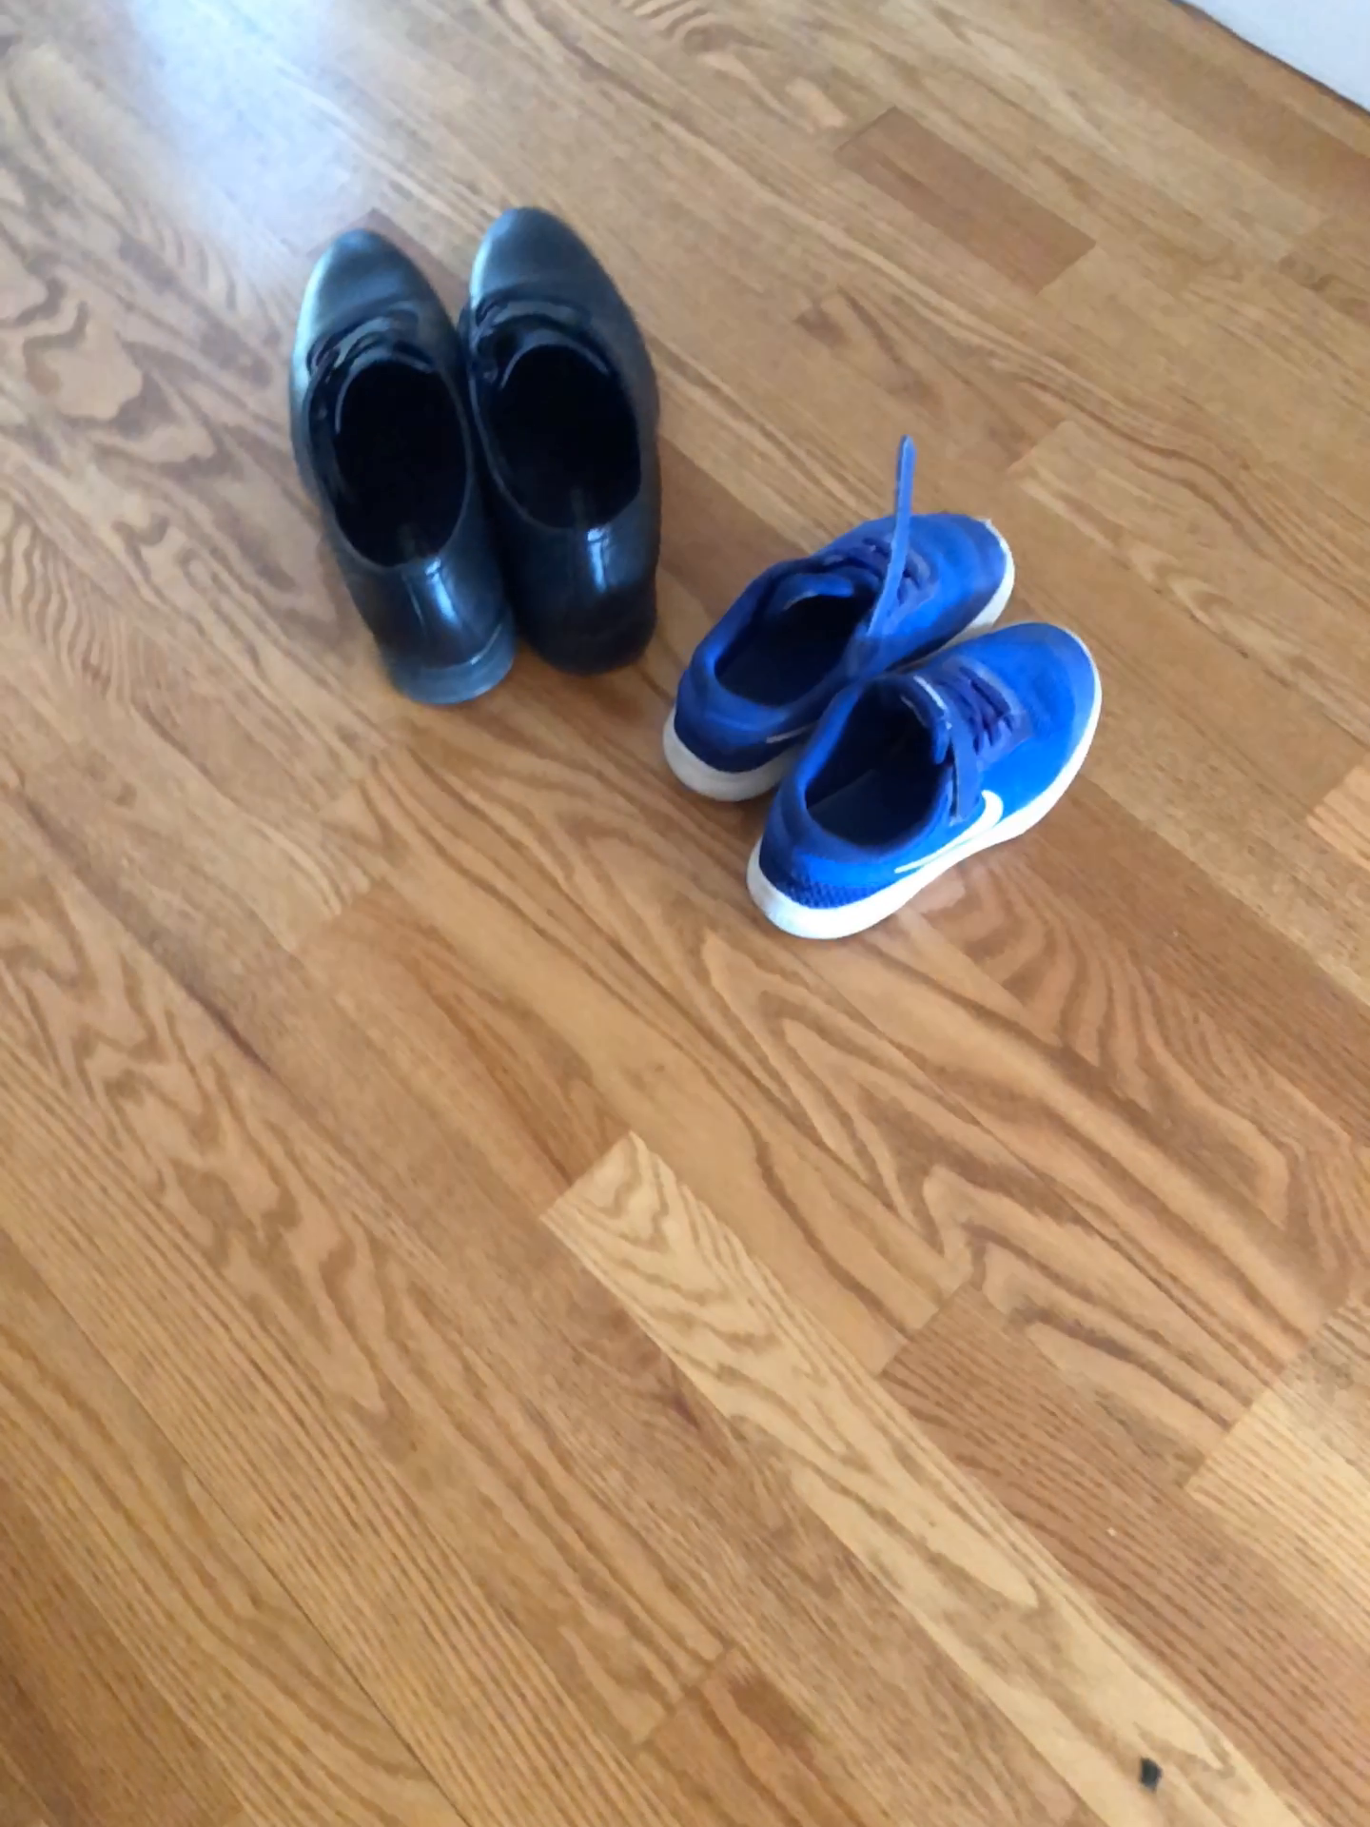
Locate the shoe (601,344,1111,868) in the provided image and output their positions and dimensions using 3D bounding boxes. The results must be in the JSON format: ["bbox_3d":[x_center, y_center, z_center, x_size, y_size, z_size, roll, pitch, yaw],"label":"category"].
[{"bbox_3d":[0.083,-0.153,0.760,0.230,0.130,0.100,-38,70,-15],"label":"shoe"}]

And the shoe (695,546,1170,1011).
[{"bbox_3d":[0.120,-0.069,0.744,0.220,0.070,0.100,-40,71,-16],"label":"shoe"}]

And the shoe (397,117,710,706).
[{"bbox_3d":[-0.075,-0.282,0.829,0.120,0.090,0.321,-10,65,-3],"label":"shoe"}]

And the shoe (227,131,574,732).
[{"bbox_3d":[-0.157,-0.268,0.819,0.120,0.090,0.321,-13,66,-5],"label":"shoe"}]
